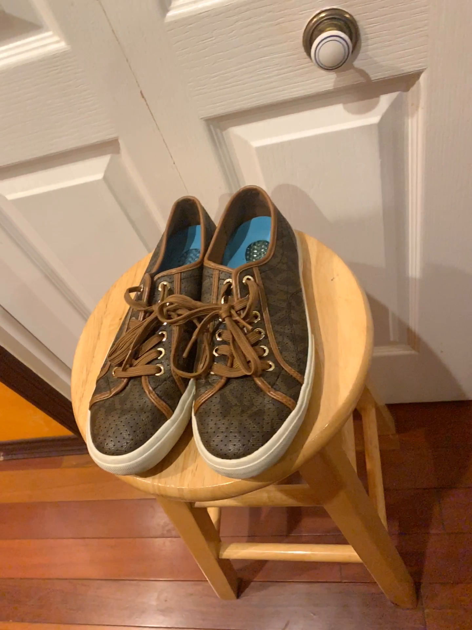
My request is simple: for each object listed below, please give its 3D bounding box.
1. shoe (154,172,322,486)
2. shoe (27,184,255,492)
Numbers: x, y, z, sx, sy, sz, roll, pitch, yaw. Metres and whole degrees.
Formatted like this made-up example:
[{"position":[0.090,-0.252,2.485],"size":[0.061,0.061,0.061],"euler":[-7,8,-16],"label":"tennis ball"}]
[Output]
[{"position":[0.017,0.001,0.420],"size":[0.100,0.080,0.261],"euler":[-4,54,17],"label":"shoe"},{"position":[-0.066,0.008,0.442],"size":[0.100,0.090,0.261],"euler":[1,56,21],"label":"shoe"}]
